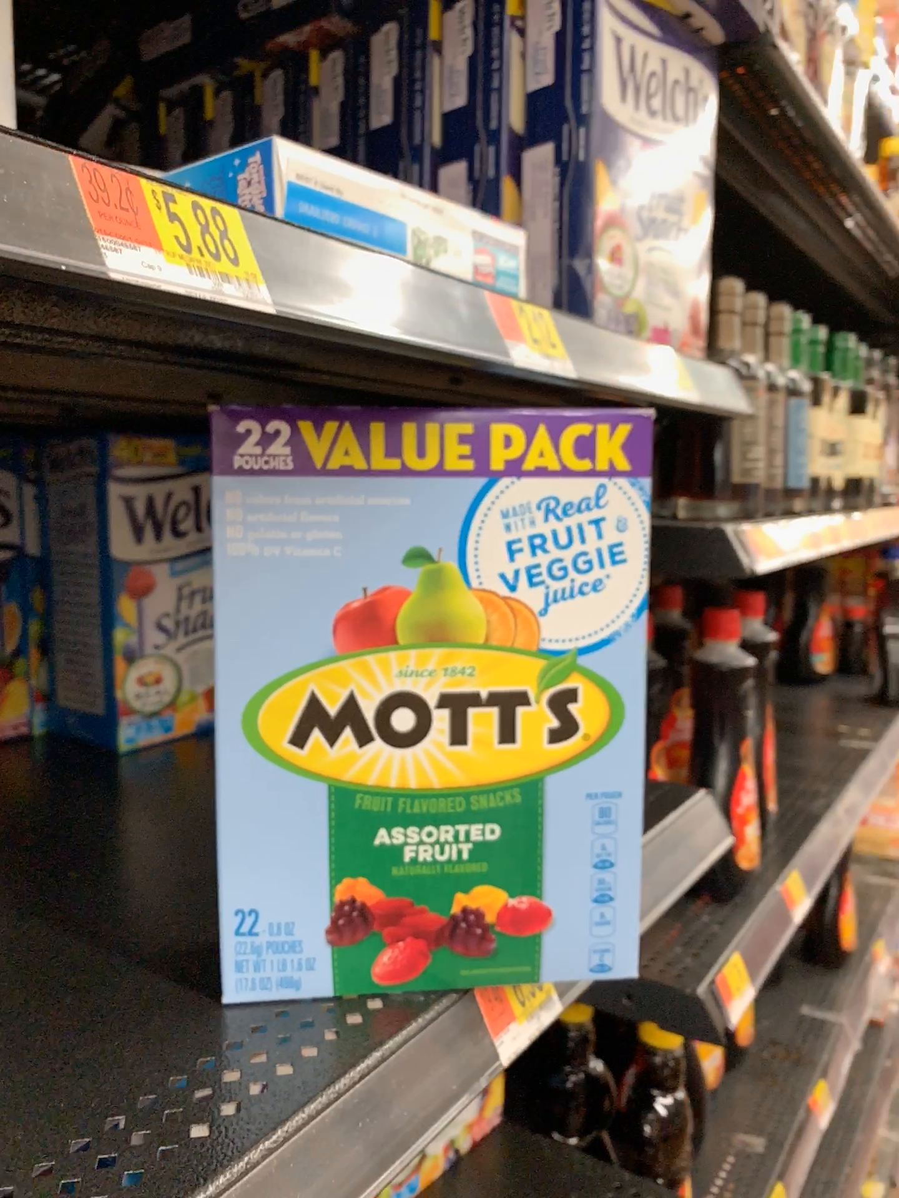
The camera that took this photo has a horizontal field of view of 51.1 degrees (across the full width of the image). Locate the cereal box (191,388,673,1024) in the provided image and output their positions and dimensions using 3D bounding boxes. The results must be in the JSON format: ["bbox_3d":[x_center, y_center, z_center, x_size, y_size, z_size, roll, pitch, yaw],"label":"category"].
[{"bbox_3d":[-0.009,0.040,0.391,0.180,0.240,0.060,0,6,-9],"label":"cereal box"}]
